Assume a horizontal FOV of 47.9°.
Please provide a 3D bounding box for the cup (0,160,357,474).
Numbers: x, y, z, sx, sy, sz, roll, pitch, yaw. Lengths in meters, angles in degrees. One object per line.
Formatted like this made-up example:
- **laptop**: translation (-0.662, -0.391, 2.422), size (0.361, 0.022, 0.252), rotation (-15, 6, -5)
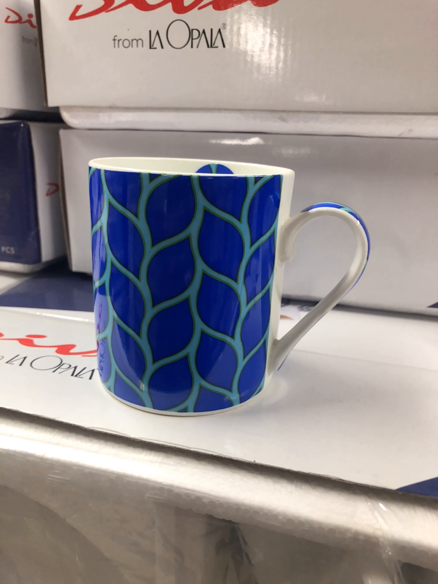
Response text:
- **cup**: translation (-0.013, -0.001, 0.198), size (0.120, 0.090, 0.080), rotation (6, 19, 12)
